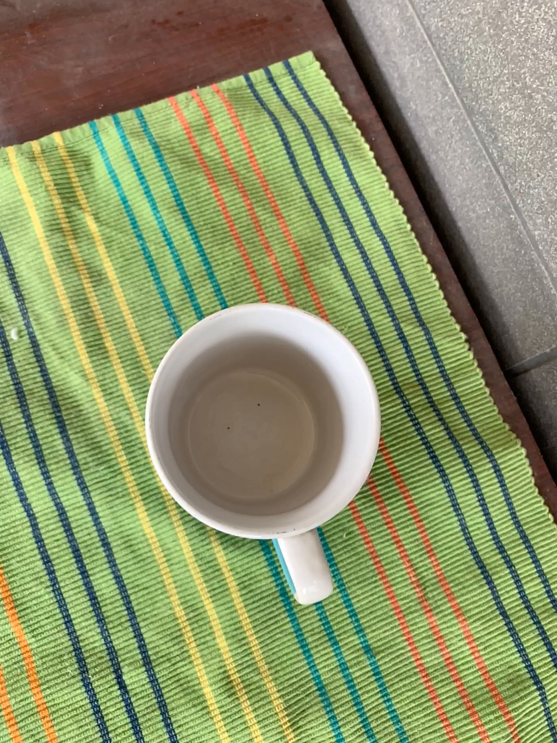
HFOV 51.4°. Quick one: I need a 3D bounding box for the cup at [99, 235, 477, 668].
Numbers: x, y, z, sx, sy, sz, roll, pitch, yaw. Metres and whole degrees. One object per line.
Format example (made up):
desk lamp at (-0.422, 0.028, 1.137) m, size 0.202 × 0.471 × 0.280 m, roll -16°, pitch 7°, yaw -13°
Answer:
cup at (-0.003, 0.035, 0.274) m, size 0.100 × 0.100 × 0.140 m, roll -22°, pitch 80°, yaw -11°
